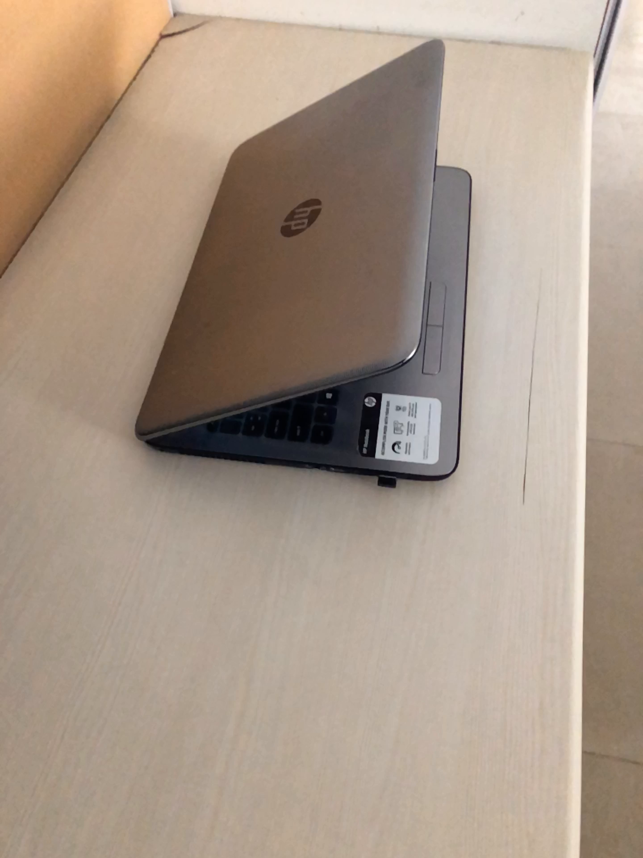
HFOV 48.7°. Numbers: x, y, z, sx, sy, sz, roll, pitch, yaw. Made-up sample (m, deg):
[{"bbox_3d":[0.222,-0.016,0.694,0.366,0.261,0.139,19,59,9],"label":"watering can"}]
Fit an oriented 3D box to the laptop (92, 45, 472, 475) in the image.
[{"bbox_3d":[-0.003,-0.163,0.595,0.237,0.133,0.365,4,54,7],"label":"laptop"}]
